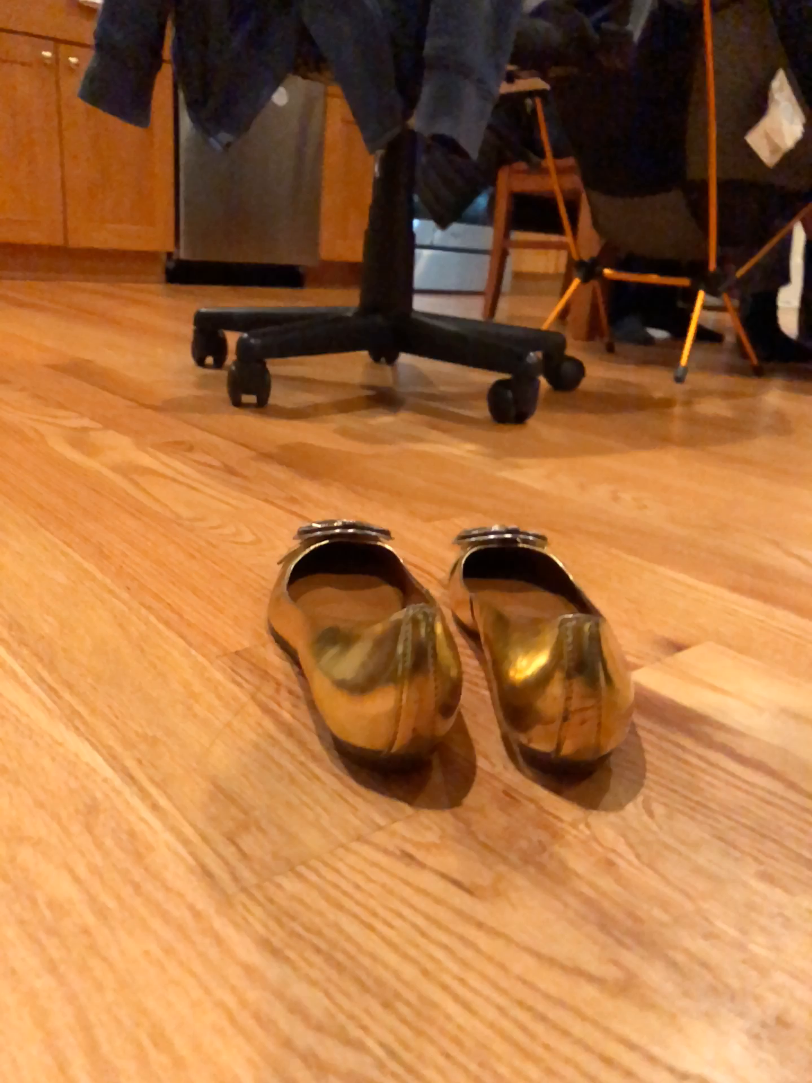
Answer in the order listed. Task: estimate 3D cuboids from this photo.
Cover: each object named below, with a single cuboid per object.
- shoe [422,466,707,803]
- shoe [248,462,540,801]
[{"bbox_3d":[0.059,0.027,0.447,0.077,0.066,0.250,3,19,-5],"label":"shoe"},{"bbox_3d":[-0.024,0.023,0.439,0.083,0.066,0.245,-1,19,-15],"label":"shoe"}]
